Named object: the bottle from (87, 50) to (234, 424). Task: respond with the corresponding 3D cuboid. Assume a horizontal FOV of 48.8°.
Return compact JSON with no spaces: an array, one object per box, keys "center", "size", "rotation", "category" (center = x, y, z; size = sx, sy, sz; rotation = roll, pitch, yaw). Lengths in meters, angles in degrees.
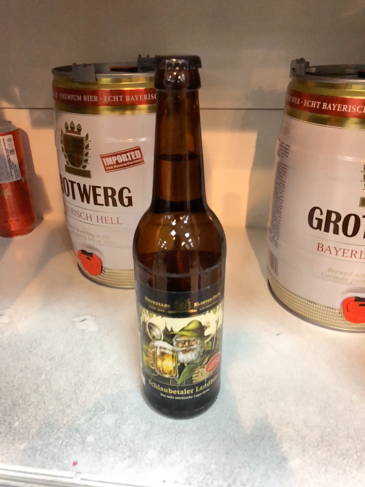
[{"center":[-0.006,0.010,0.281],"size":[0.071,0.257,0.064],"rotation":[1,28,5],"category":"bottle"}]
